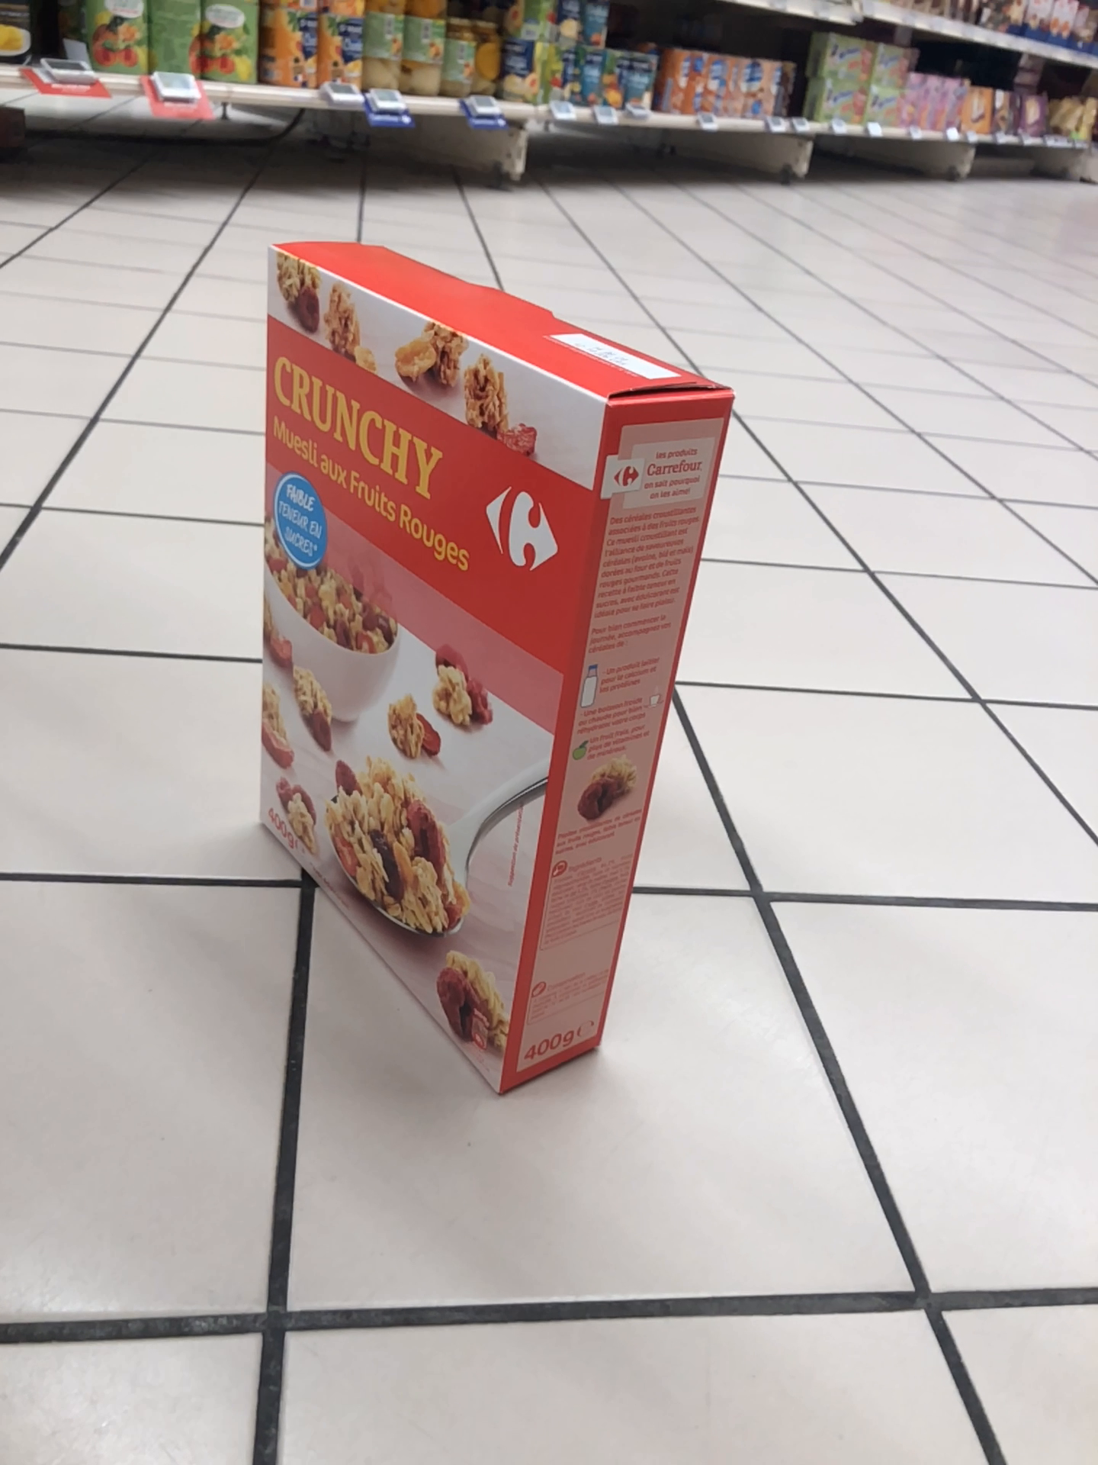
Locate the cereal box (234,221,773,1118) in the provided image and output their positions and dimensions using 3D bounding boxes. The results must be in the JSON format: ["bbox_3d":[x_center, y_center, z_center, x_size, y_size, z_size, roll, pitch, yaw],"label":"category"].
[{"bbox_3d":[-0.040,-0.030,0.432,0.060,0.248,0.200,-15,37,-36],"label":"cereal box"}]
